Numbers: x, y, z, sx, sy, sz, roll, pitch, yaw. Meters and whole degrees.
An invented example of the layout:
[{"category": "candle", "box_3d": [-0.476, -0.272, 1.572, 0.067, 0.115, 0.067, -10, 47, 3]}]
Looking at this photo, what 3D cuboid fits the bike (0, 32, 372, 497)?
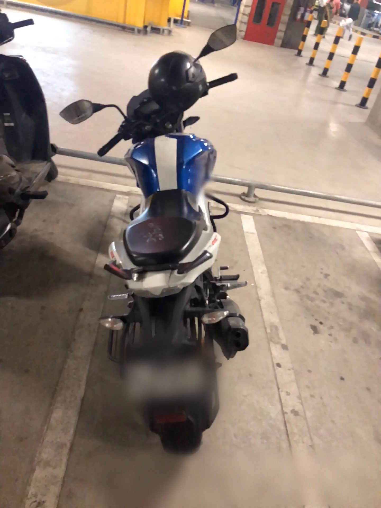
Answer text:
[{"category": "bike", "box_3d": [-0.248, -0.185, 1.947, 0.806, 1.162, 1.996, 5, 34, -12]}]
